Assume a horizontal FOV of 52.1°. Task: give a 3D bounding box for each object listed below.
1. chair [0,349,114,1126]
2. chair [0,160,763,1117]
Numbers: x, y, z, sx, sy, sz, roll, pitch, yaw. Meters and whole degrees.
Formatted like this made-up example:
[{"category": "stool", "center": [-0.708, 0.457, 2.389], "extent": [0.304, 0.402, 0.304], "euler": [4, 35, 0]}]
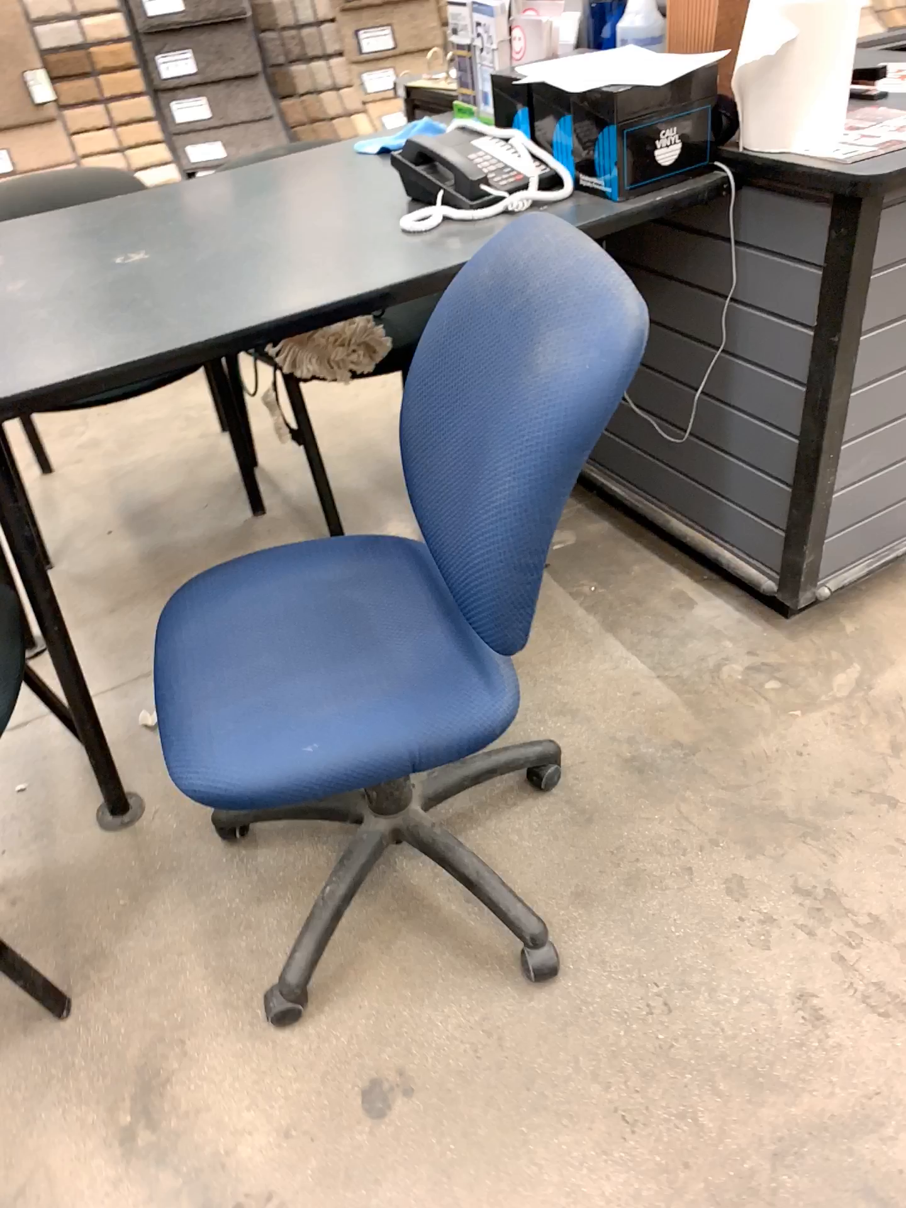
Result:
[{"category": "chair", "center": [-0.897, 0.180, 1.280], "extent": [0.541, 0.800, 0.570], "euler": [-11, 37, -5]}, {"category": "chair", "center": [-0.125, 0.011, 1.234], "extent": [0.661, 0.889, 0.701], "euler": [-16, 38, -11]}]
